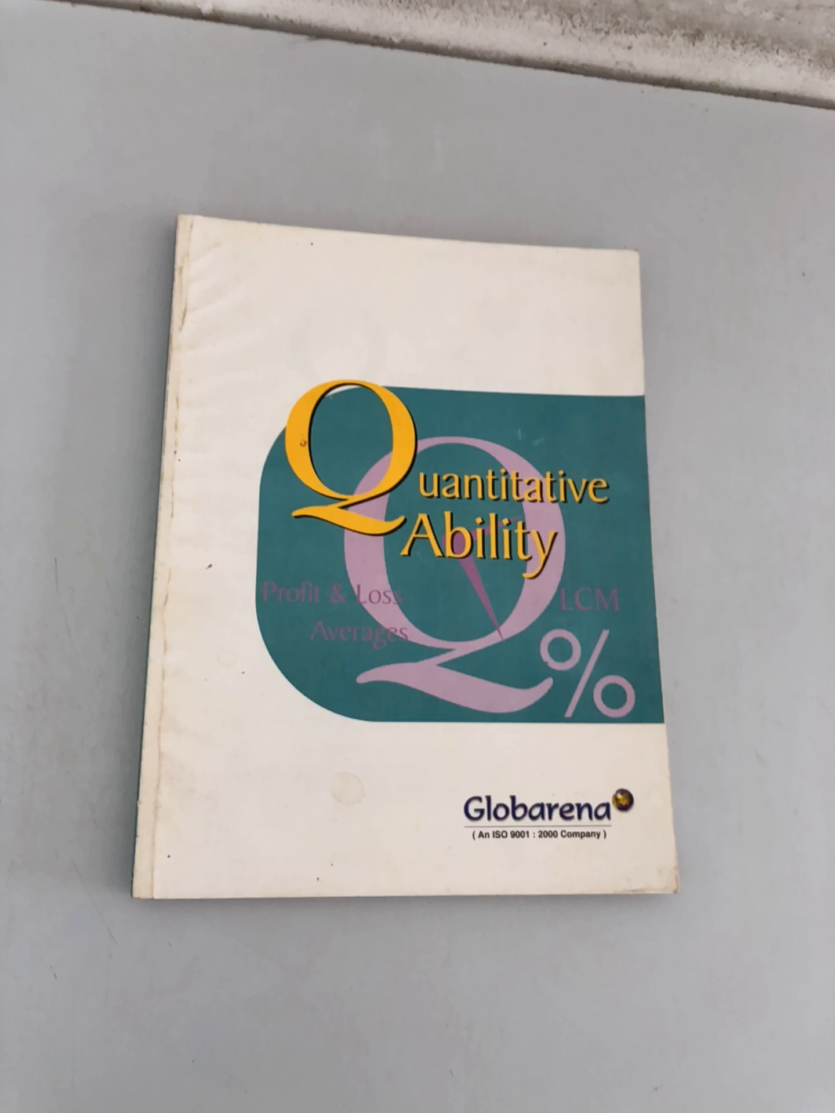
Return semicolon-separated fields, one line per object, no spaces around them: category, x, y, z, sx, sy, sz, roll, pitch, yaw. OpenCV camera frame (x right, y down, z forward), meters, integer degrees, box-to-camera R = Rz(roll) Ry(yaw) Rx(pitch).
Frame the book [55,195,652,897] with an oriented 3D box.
book;-0.017;-0.008;0.333;0.190;0.020;0.240;2;77;-8
